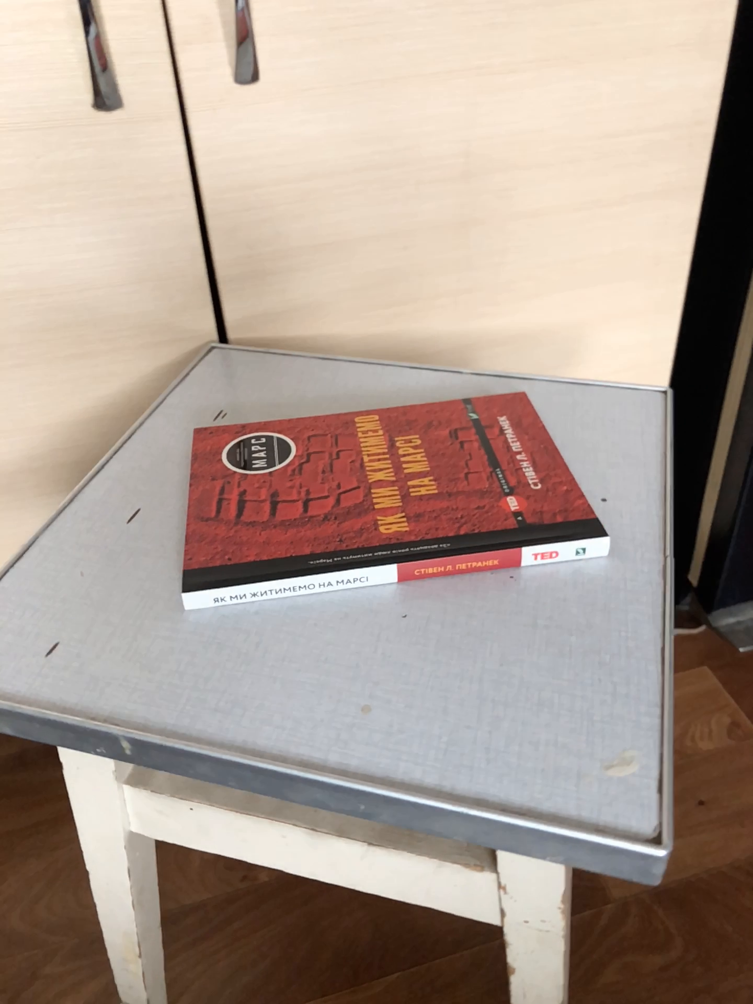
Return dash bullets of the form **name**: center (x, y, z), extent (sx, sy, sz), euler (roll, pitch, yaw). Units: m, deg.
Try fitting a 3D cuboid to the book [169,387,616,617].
- **book**: center (0.000, -0.009, 0.454), extent (0.213, 0.015, 0.147), euler (-7, 38, -5)
